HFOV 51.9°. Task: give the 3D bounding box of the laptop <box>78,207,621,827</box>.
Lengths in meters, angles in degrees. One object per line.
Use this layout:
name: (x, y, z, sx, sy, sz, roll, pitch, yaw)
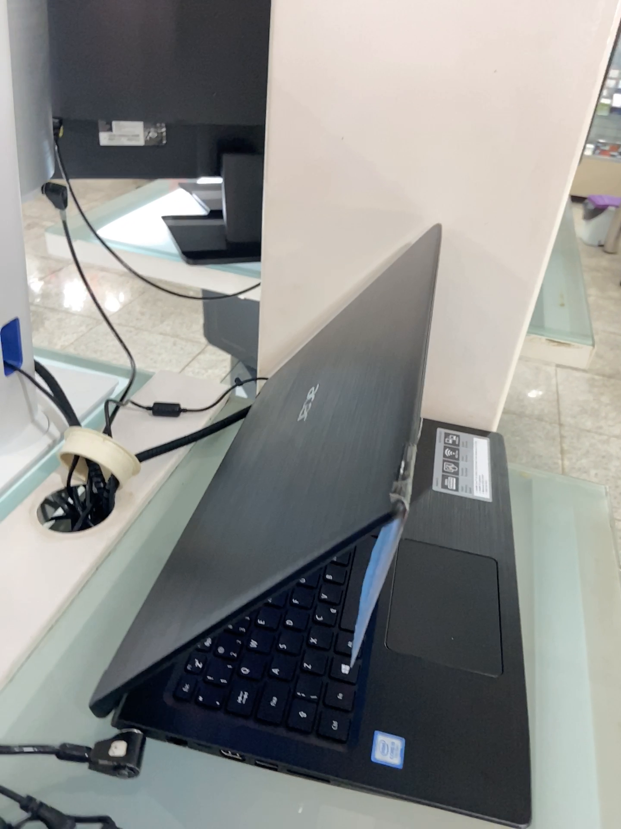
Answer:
laptop: (0.050, 0.019, 0.455, 0.233, 0.193, 0.369, 11, 34, 7)
